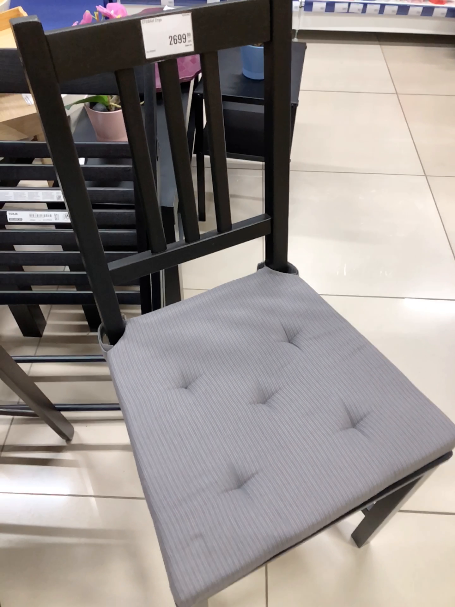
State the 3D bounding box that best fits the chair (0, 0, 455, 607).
[{"bbox_3d":[0.029,0.118,0.744,0.411,0.894,0.492,-20,54,-17],"label":"chair"}]
